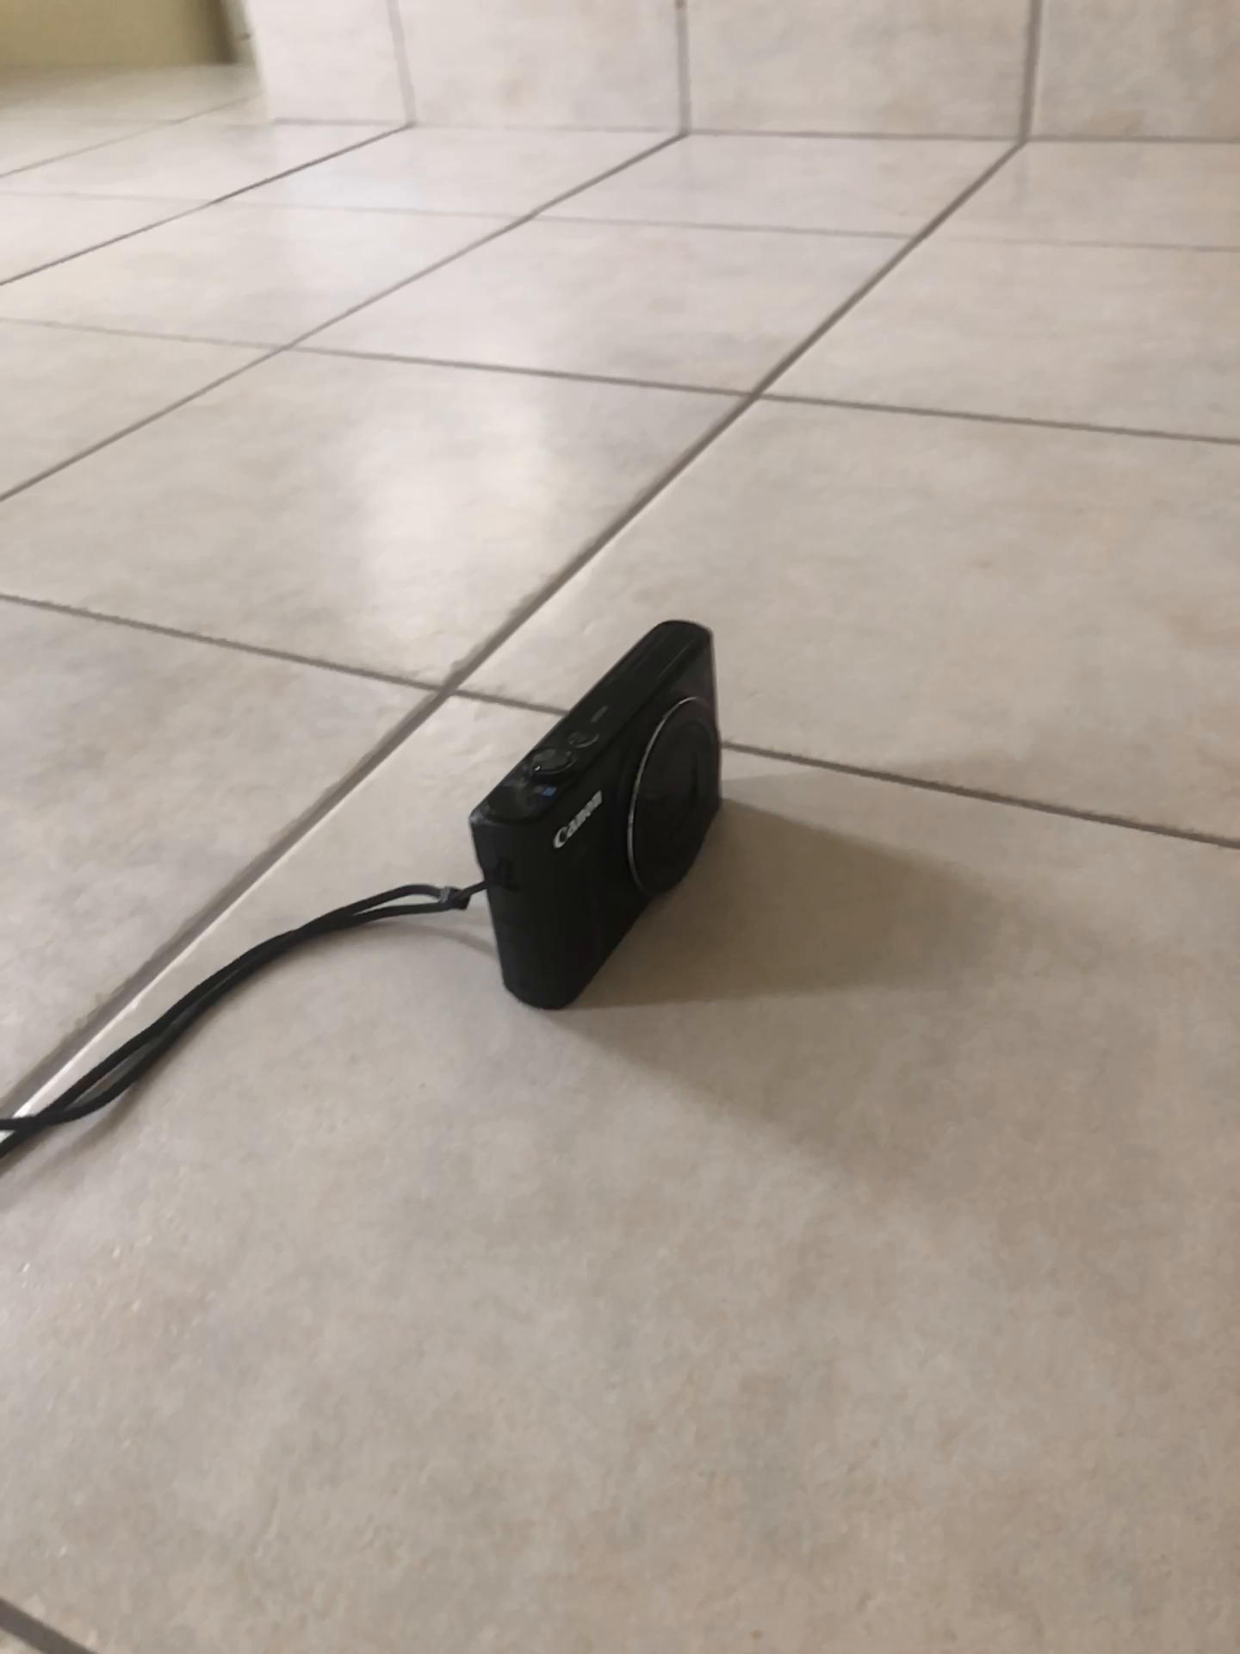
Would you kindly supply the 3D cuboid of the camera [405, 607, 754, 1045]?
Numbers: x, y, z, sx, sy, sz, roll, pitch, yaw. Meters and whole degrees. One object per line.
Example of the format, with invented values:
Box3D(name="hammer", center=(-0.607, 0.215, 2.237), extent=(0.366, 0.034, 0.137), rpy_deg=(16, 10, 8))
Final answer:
Box3D(name="camera", center=(-0.005, -0.005, 0.370), extent=(0.040, 0.060, 0.111), rpy_deg=(15, 41, 25))
